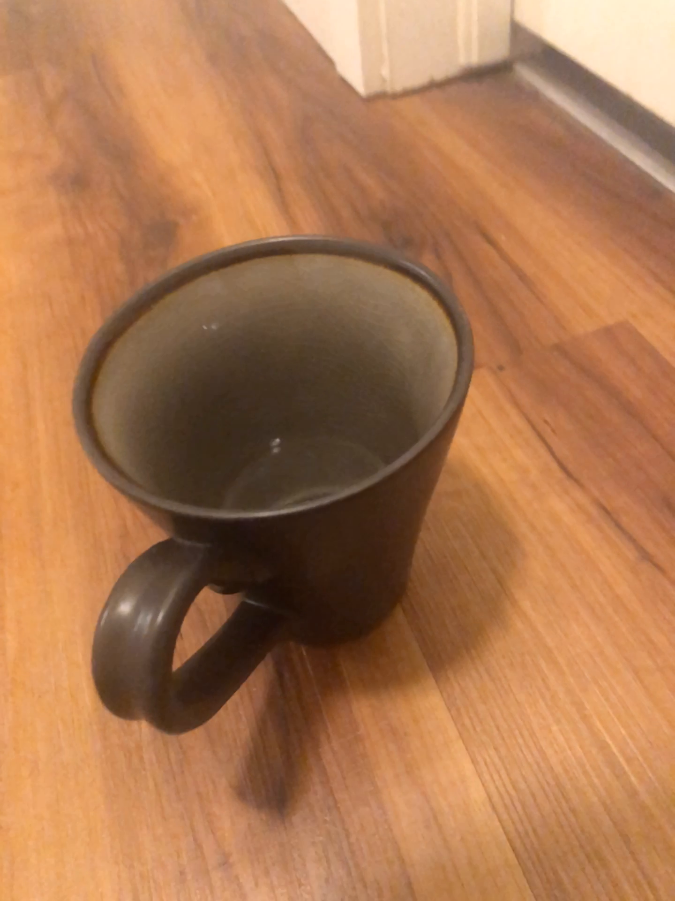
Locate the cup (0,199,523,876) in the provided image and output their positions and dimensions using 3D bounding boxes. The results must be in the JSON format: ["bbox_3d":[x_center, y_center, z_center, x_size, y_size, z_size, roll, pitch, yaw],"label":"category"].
[{"bbox_3d":[-0.019,0.014,0.228,0.114,0.100,0.155,10,51,18],"label":"cup"}]
